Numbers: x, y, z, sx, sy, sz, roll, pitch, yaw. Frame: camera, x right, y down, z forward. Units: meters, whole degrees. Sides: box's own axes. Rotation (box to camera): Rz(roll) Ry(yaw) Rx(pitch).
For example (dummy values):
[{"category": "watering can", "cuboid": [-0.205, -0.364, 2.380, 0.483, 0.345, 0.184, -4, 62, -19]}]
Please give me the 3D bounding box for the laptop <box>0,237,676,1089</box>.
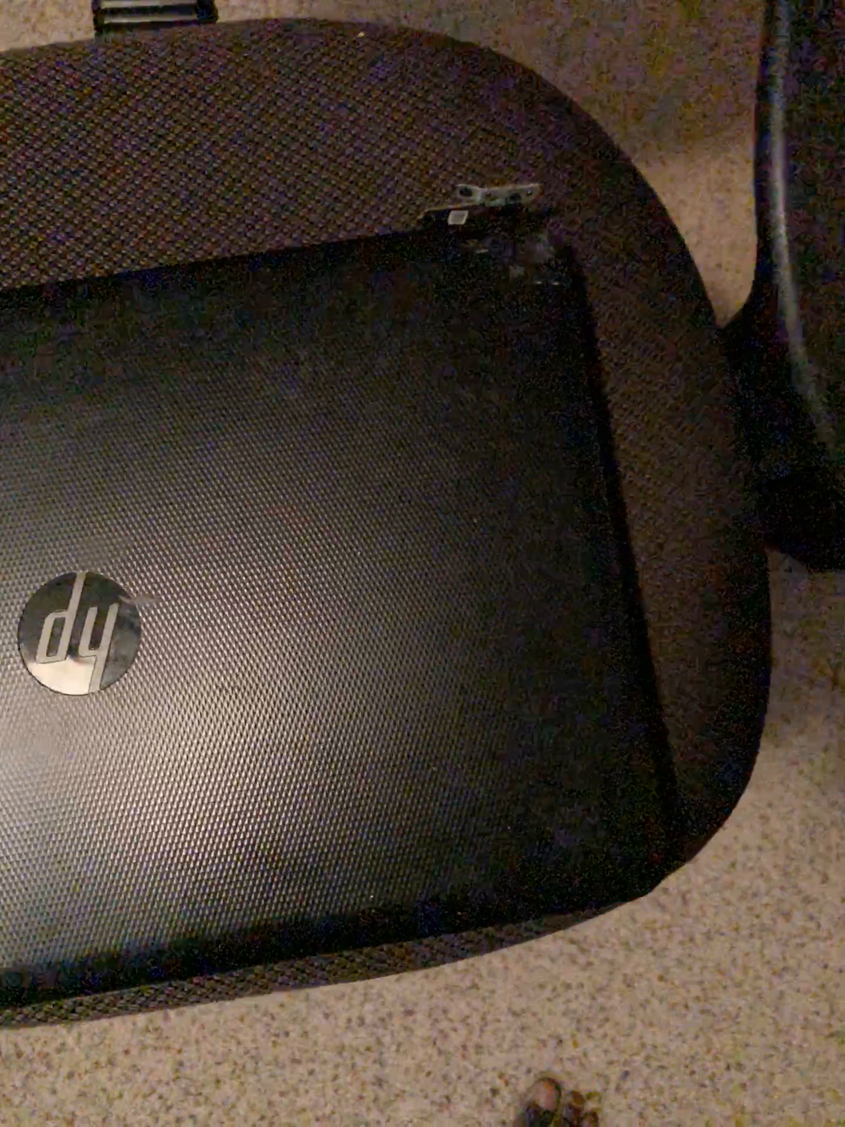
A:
[{"category": "laptop", "cuboid": [-0.111, 0.021, 0.320, 0.378, 0.018, 0.244, -9, 84, -7]}]
